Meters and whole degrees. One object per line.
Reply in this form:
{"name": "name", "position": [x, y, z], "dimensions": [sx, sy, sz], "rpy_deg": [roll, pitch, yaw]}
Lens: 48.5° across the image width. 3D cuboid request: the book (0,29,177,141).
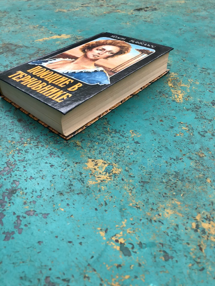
{"name": "book", "position": [-0.025, -0.096, 0.318], "dimensions": [0.139, 0.032, 0.208], "rpy_deg": [30, 50, 31]}
